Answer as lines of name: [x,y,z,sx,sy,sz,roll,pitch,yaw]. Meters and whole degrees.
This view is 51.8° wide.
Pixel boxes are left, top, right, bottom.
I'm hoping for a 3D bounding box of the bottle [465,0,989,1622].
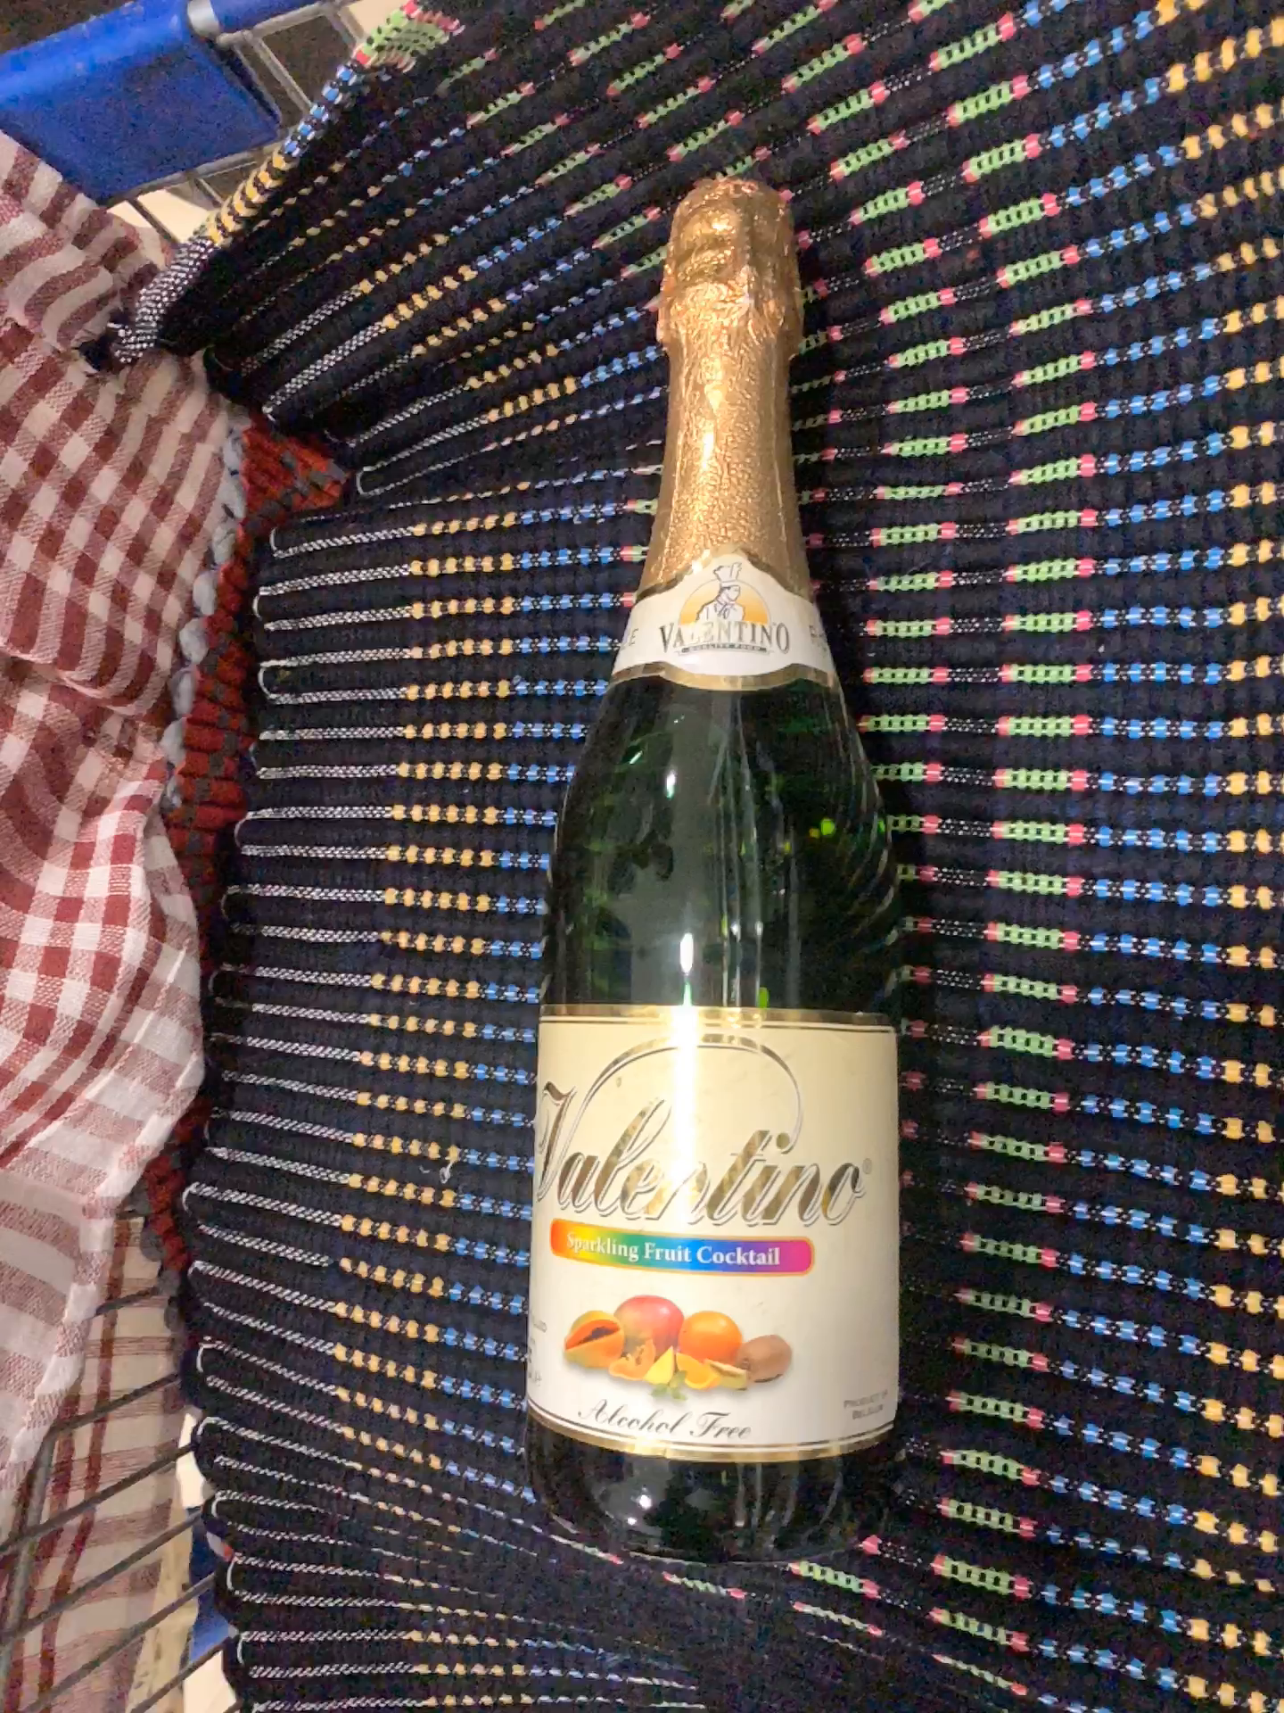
bottle: [0.030,-0.034,0.308,0.090,0.080,0.350,-1,79,22]
